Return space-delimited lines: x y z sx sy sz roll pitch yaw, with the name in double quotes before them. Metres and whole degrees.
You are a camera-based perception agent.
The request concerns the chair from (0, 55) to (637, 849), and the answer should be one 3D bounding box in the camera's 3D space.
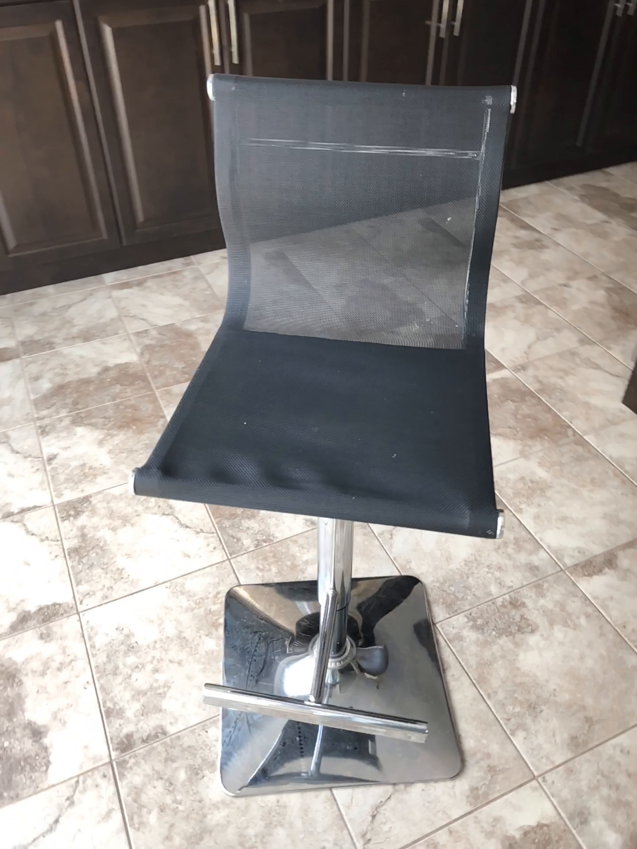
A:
"chair" 0.022 0.082 1.009 0.540 0.976 0.552 6 41 8
